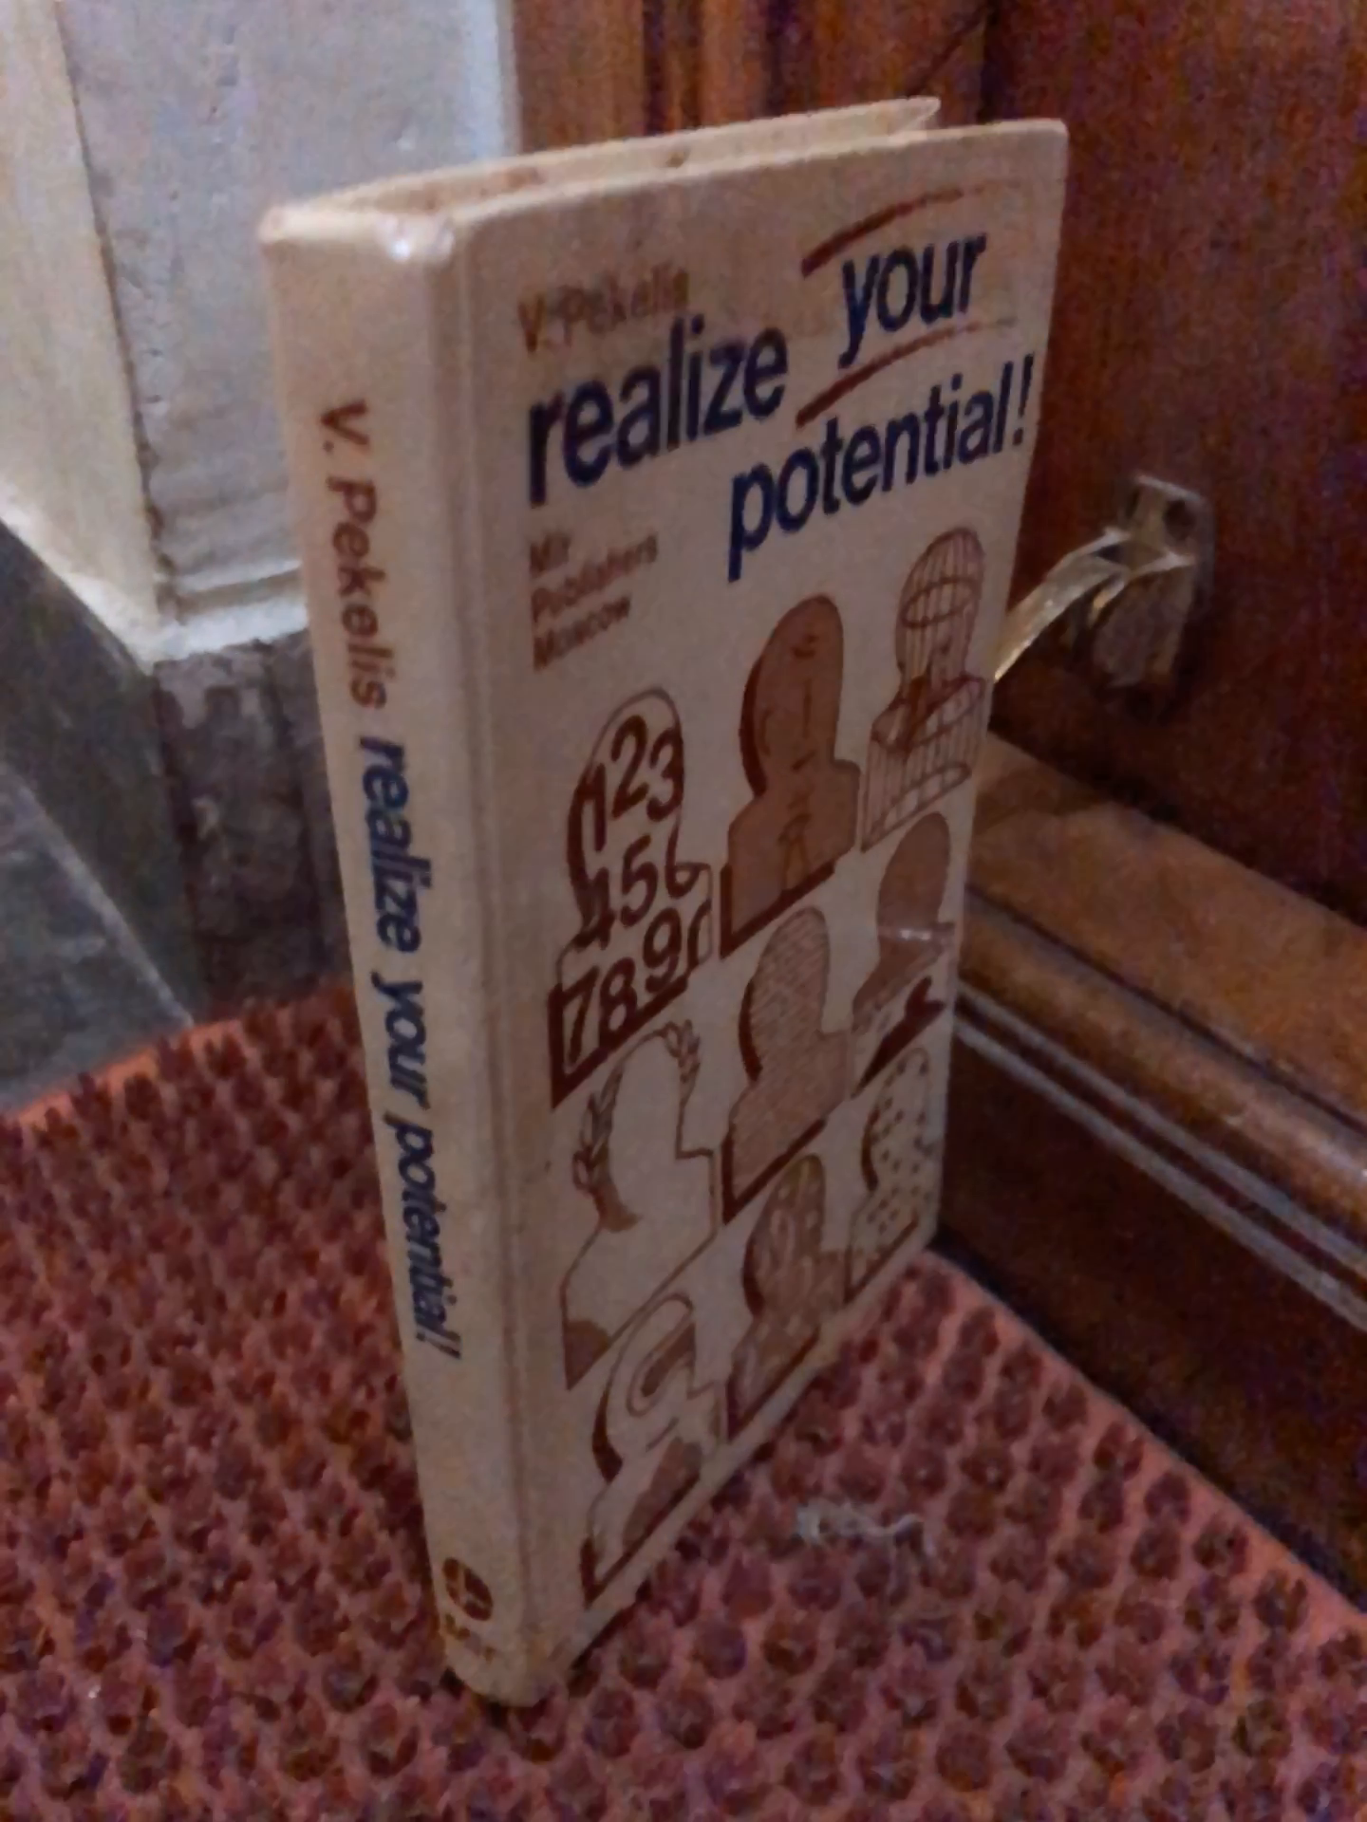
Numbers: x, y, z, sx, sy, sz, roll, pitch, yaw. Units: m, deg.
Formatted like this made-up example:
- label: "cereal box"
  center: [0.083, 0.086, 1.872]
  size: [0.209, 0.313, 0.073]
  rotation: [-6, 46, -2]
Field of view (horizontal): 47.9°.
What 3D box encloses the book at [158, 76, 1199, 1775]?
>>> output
- label: "book"
  center: [0.015, 0.000, 0.227]
  size: [0.030, 0.209, 0.151]
  rotation: [22, 38, 33]
